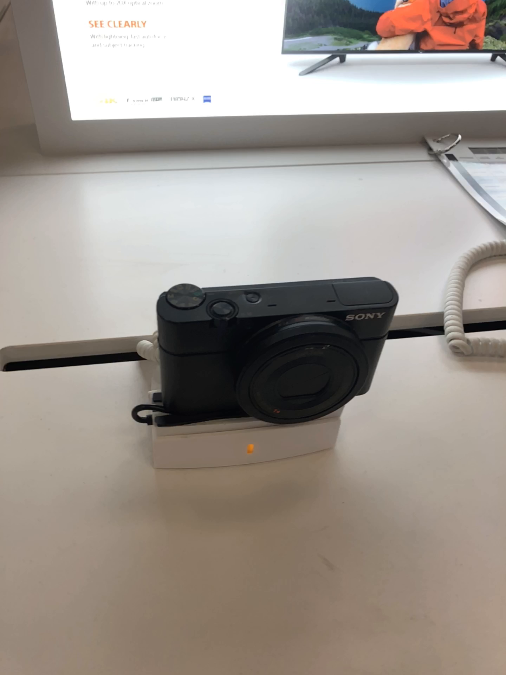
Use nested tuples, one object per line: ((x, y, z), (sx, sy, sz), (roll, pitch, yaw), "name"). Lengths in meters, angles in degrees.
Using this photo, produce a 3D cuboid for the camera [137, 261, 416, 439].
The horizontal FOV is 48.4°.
((0.007, 0.006, 0.252), (0.110, 0.070, 0.030), (-4, 43, -9), "camera")
